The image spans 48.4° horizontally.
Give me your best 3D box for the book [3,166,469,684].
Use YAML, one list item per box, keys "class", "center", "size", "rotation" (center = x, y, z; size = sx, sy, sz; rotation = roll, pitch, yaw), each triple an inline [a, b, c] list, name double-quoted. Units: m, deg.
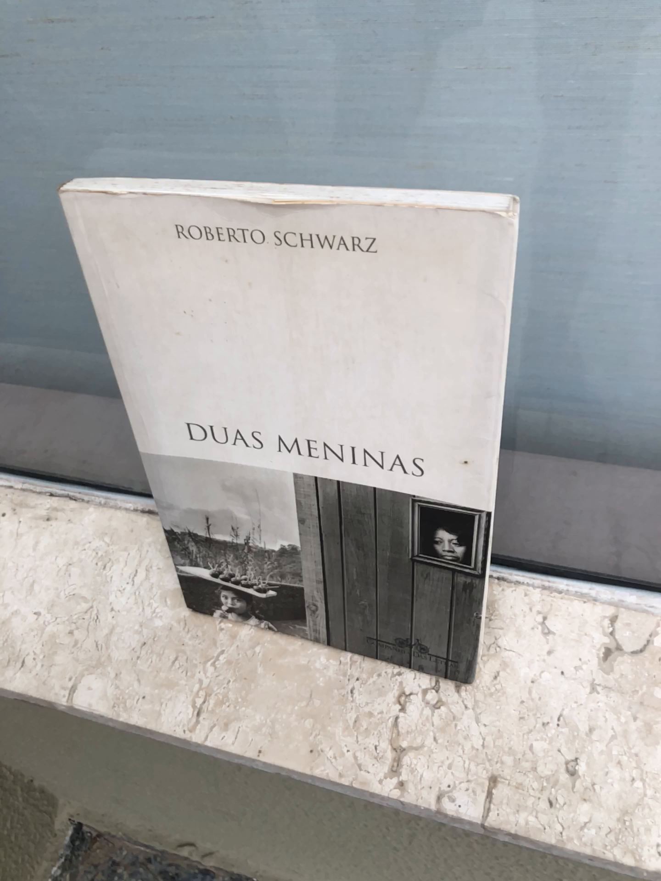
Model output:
- class: "book"
  center: [-0.023, 0.007, 0.272]
  size: [0.139, 0.204, 0.016]
  rotation: [10, 42, 19]
